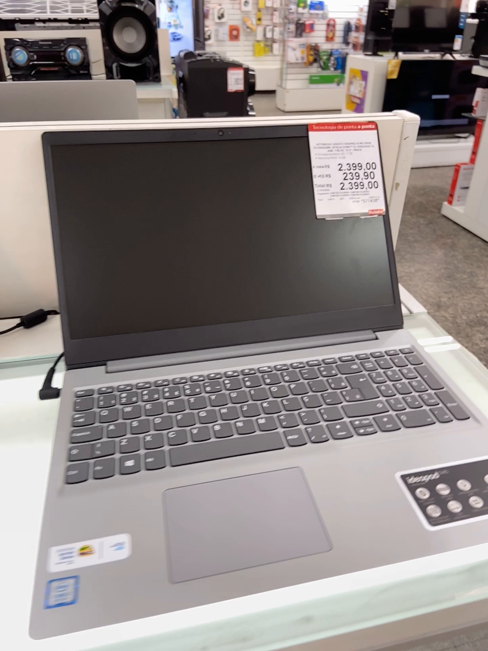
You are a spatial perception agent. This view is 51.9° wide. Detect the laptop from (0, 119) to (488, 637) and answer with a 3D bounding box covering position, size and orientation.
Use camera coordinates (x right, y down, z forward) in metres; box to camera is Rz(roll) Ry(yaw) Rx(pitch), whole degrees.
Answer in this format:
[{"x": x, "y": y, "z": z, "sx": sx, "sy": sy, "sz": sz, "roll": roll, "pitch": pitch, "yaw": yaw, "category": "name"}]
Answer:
[{"x": 0.013, "y": -0.030, "z": 0.439, "sx": 0.369, "sy": 0.192, "sz": 0.404, "roll": -6, "pitch": 34, "yaw": -10, "category": "laptop"}]
